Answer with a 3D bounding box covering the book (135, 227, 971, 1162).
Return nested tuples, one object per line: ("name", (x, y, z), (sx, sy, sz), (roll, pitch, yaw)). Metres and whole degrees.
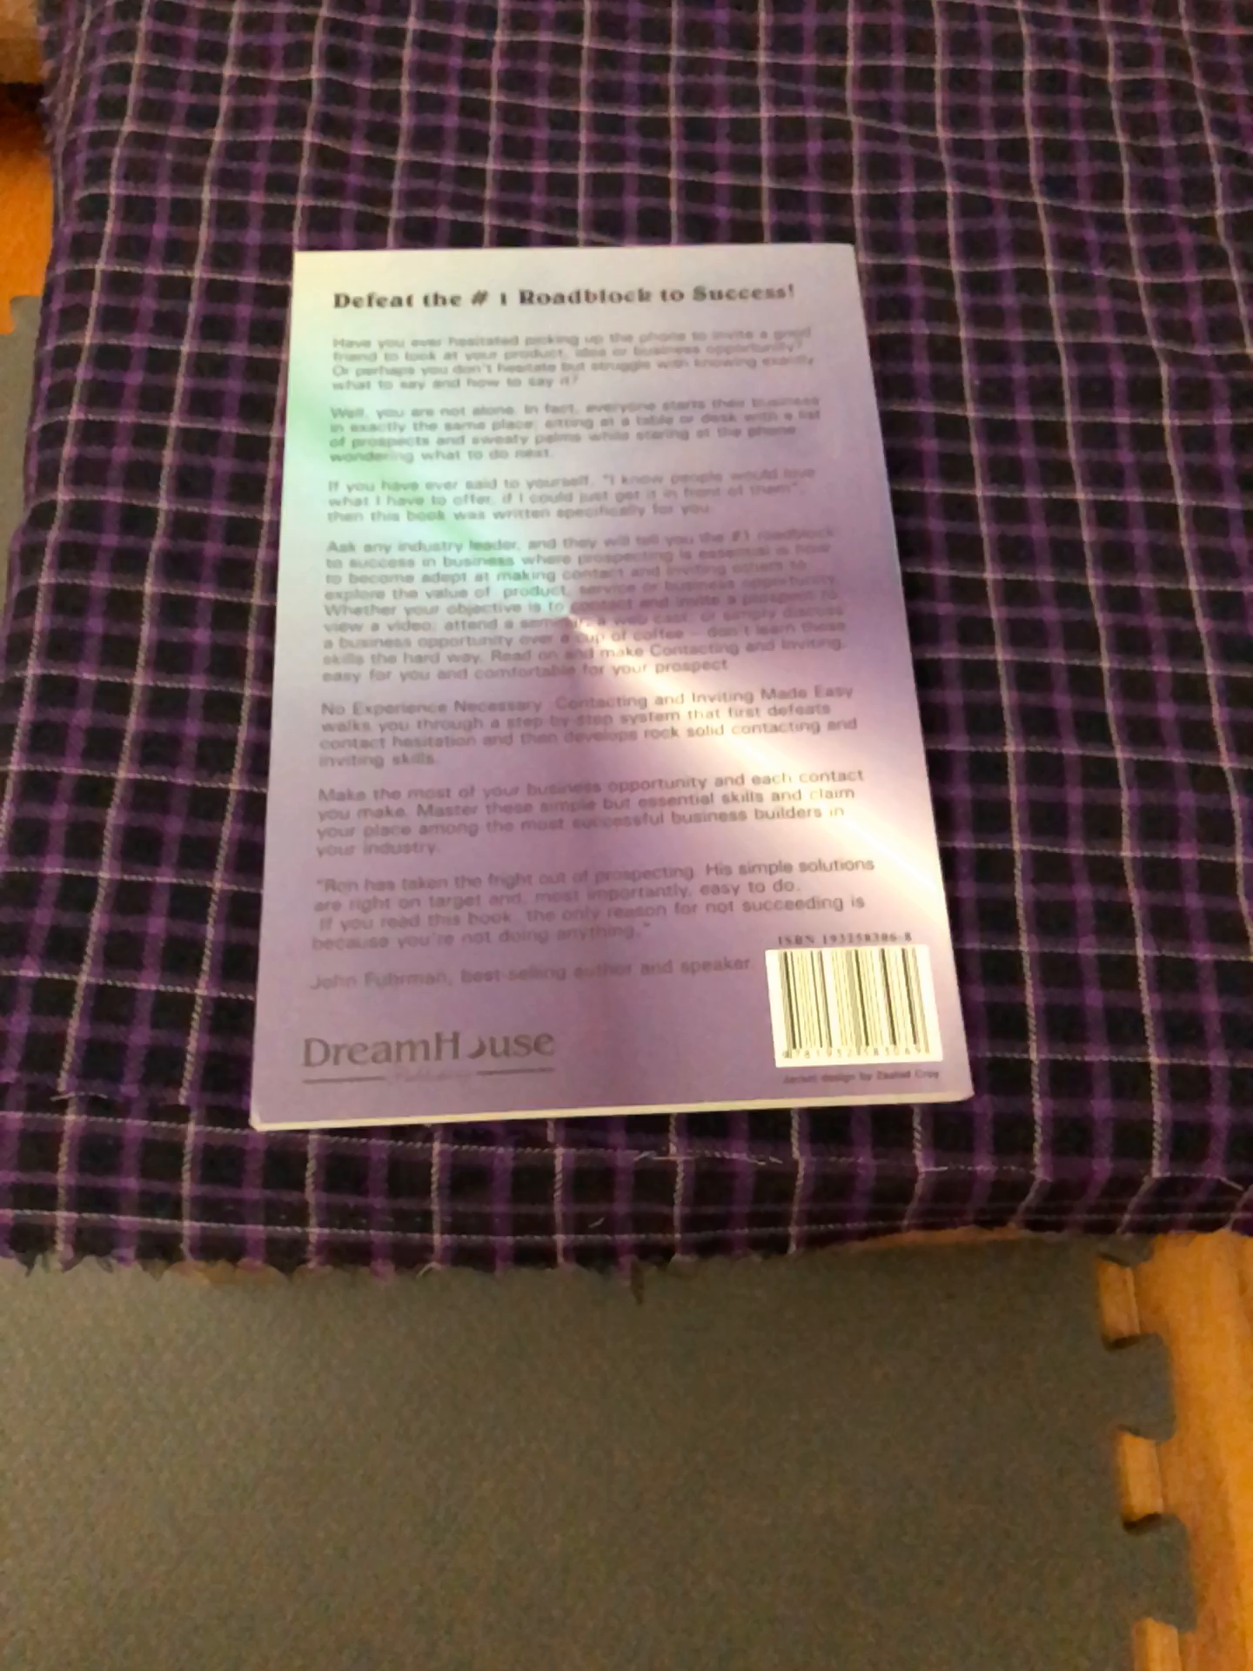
("book", (-0.019, -0.044, 0.316), (0.160, 0.020, 0.221), (-2, 69, -3))
